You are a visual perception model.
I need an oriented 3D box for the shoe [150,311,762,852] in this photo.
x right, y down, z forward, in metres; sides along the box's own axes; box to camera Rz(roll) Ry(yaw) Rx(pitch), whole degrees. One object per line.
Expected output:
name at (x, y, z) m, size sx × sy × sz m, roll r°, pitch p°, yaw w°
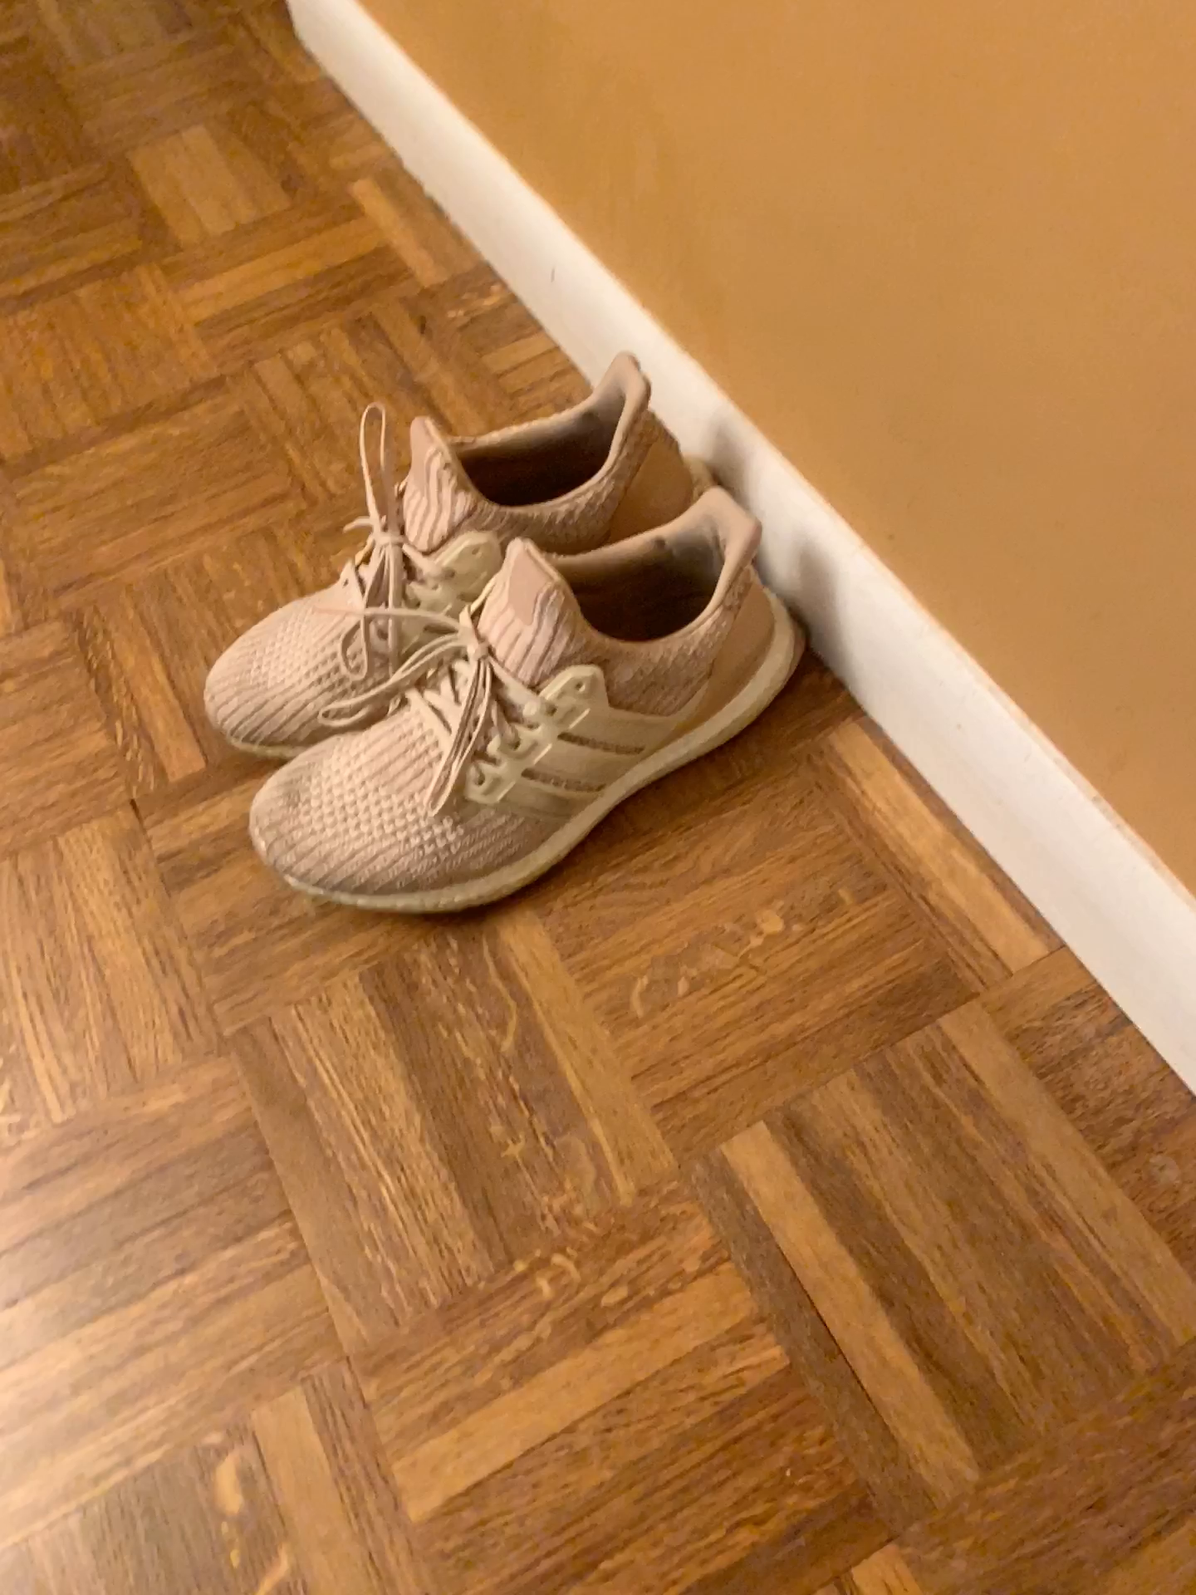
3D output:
shoe at (-0.067, -0.109, 0.648) m, size 0.280 × 0.130 × 0.100 m, roll -32°, pitch 59°, yaw -2°

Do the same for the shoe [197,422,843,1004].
shoe at (-0.031, -0.034, 0.579) m, size 0.260 × 0.120 × 0.110 m, roll -33°, pitch 59°, yaw 1°
